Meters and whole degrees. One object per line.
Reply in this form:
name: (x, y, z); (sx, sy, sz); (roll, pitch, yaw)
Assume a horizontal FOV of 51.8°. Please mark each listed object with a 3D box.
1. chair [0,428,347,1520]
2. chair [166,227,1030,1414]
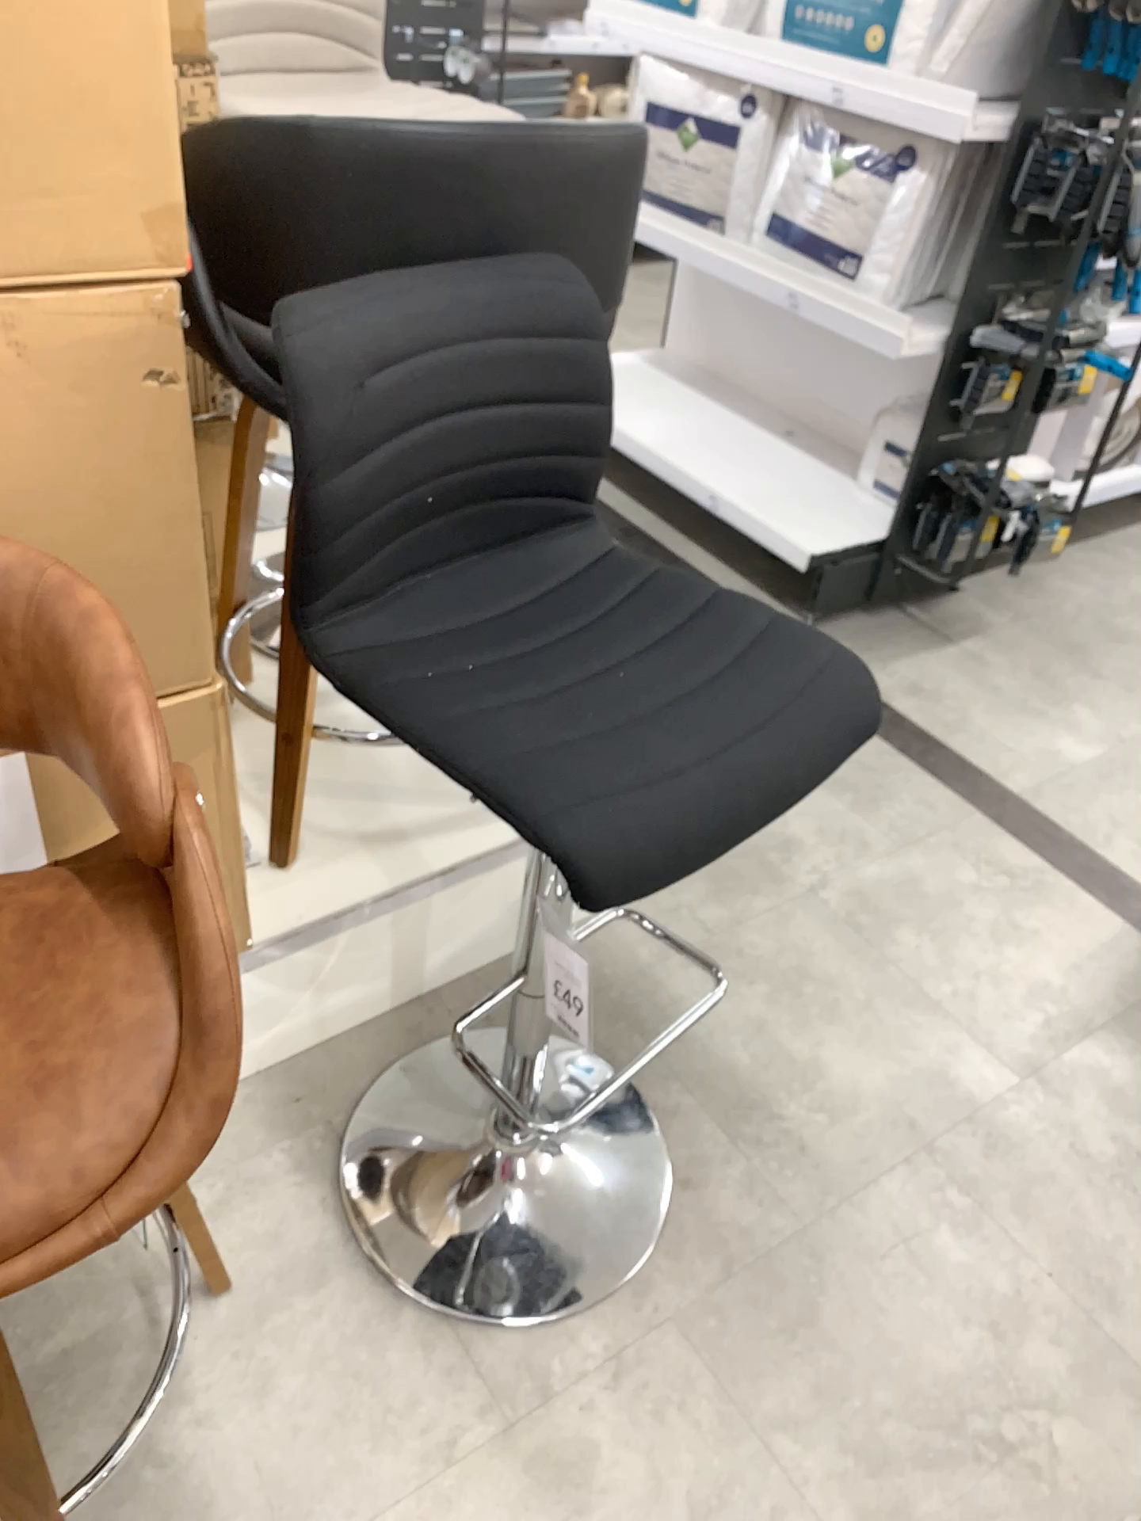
chair: (-0.500, 0.283, 0.904); (0.525, 0.875, 0.522); (-10, 40, -23)
chair: (-0.024, 0.078, 1.174); (0.470, 0.994, 0.456); (33, 43, 30)
